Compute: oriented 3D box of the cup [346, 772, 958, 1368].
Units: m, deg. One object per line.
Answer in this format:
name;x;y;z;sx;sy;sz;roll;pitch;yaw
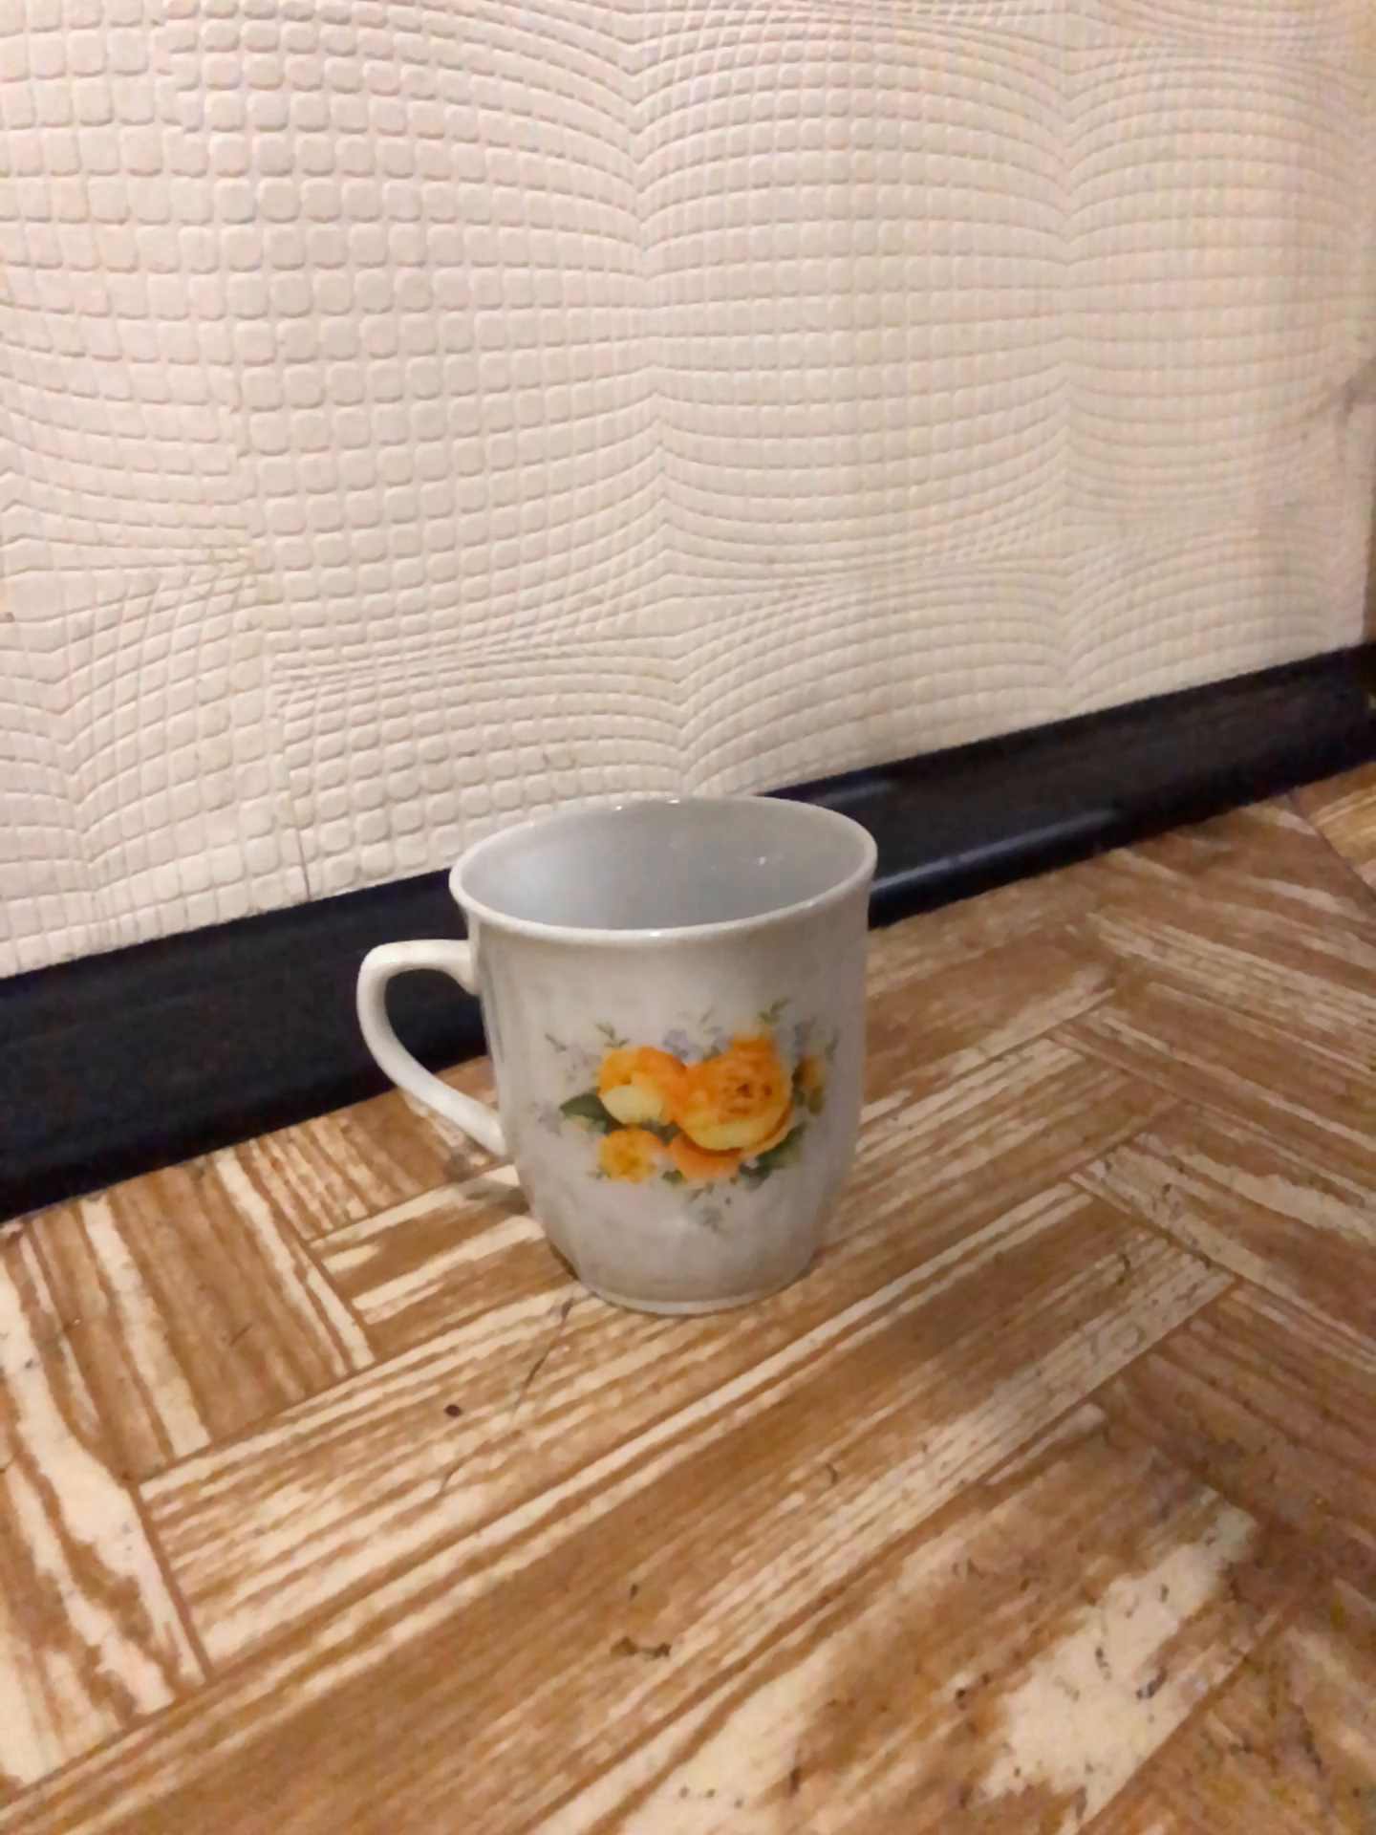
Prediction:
cup;-0.011;0.021;0.292;0.097;0.069;0.095;-3;19;1
